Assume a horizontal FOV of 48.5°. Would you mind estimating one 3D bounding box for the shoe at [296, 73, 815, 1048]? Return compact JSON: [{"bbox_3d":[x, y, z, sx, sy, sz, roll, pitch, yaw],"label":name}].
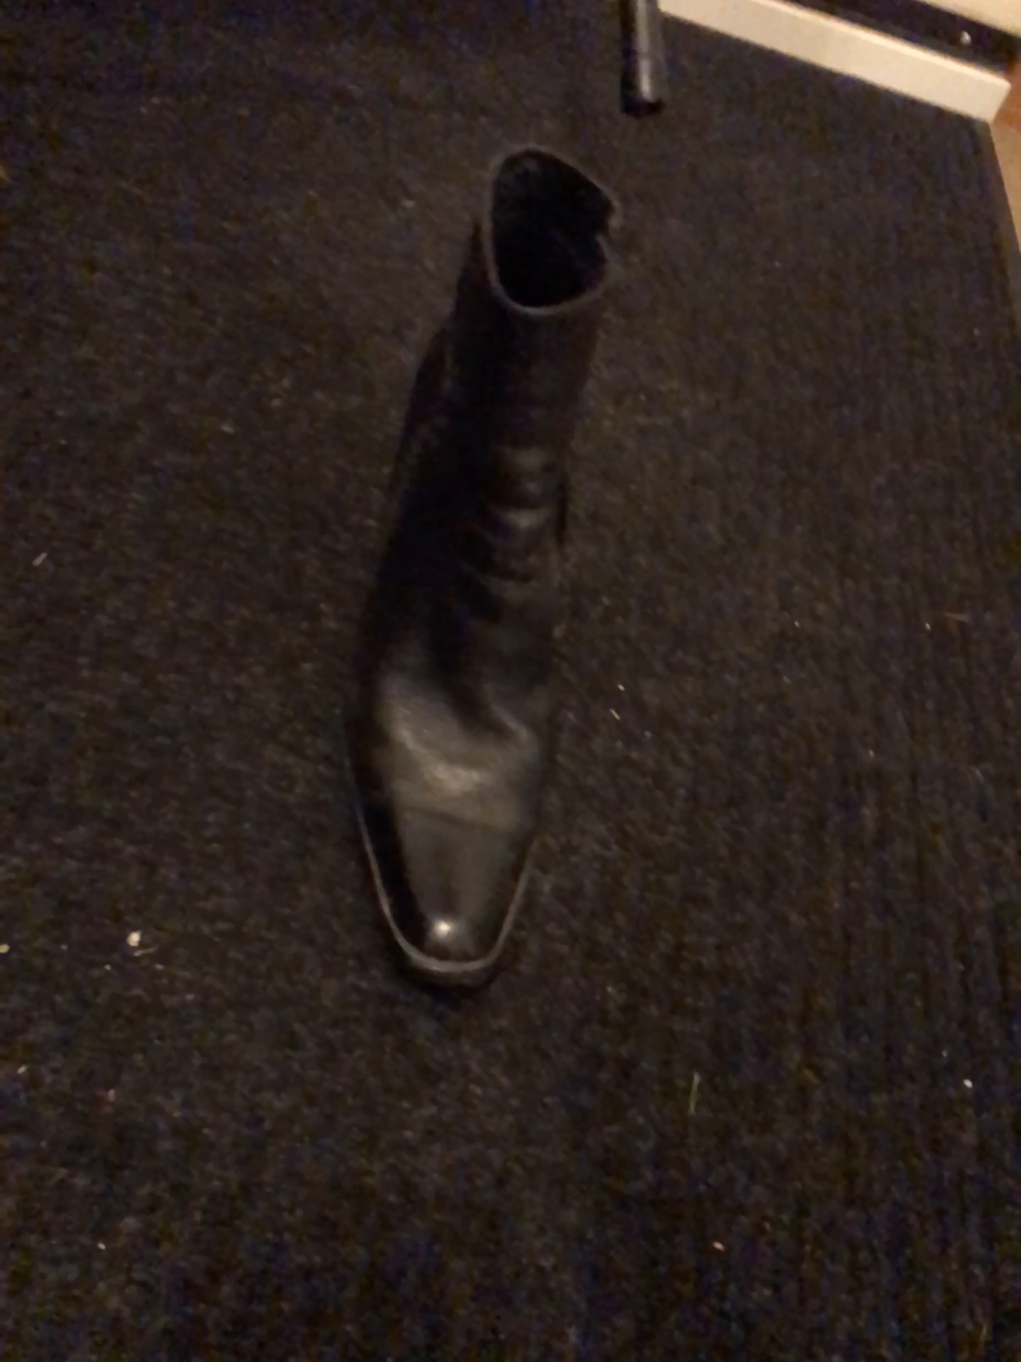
[{"bbox_3d":[-0.005,-0.039,0.383,0.090,0.209,0.241,8,48,-10],"label":"shoe"}]
